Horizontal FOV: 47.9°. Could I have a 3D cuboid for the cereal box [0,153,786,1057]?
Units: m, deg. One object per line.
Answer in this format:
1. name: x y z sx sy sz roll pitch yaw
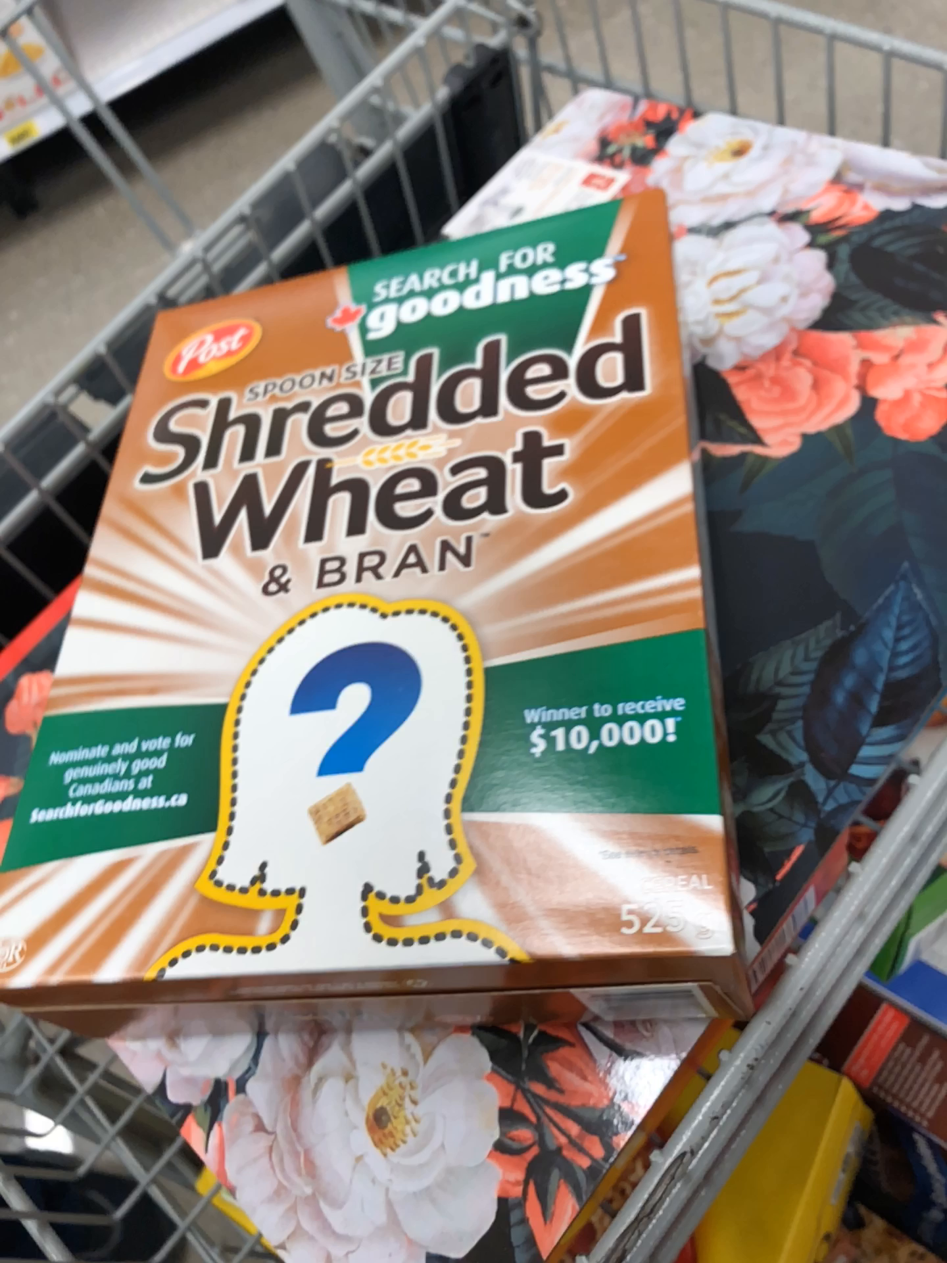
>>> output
1. cereal box: -0.028 -0.023 0.366 0.220 0.070 0.300 -7 54 14
